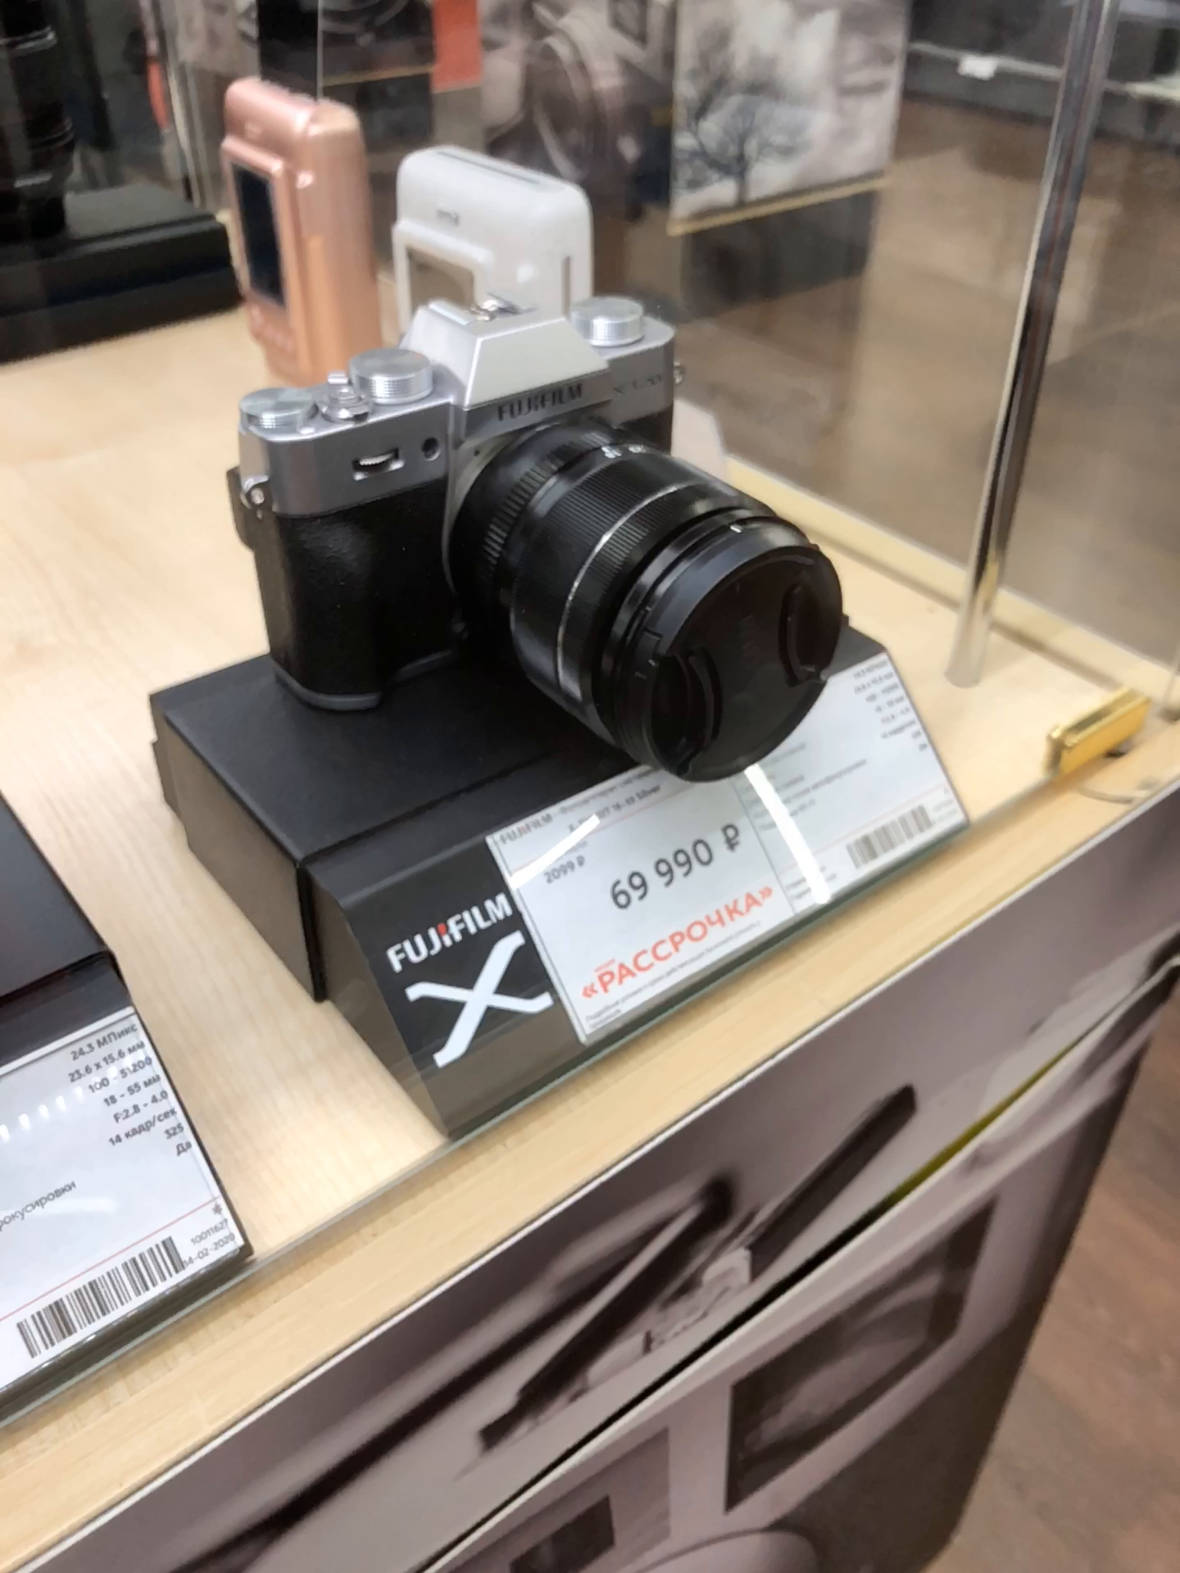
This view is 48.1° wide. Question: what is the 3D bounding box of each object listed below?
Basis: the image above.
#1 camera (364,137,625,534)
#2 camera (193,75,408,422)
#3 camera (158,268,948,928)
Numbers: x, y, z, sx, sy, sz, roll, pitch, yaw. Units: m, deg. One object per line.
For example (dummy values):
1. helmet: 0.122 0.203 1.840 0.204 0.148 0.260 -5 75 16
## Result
1. camera: -0.034 -0.164 0.478 0.039 0.110 0.094 -27 45 -31
2. camera: -0.127 -0.239 0.584 0.043 0.117 0.101 -21 43 -26
3. camera: -0.012 -0.057 0.317 0.124 0.080 0.130 -23 43 -28
